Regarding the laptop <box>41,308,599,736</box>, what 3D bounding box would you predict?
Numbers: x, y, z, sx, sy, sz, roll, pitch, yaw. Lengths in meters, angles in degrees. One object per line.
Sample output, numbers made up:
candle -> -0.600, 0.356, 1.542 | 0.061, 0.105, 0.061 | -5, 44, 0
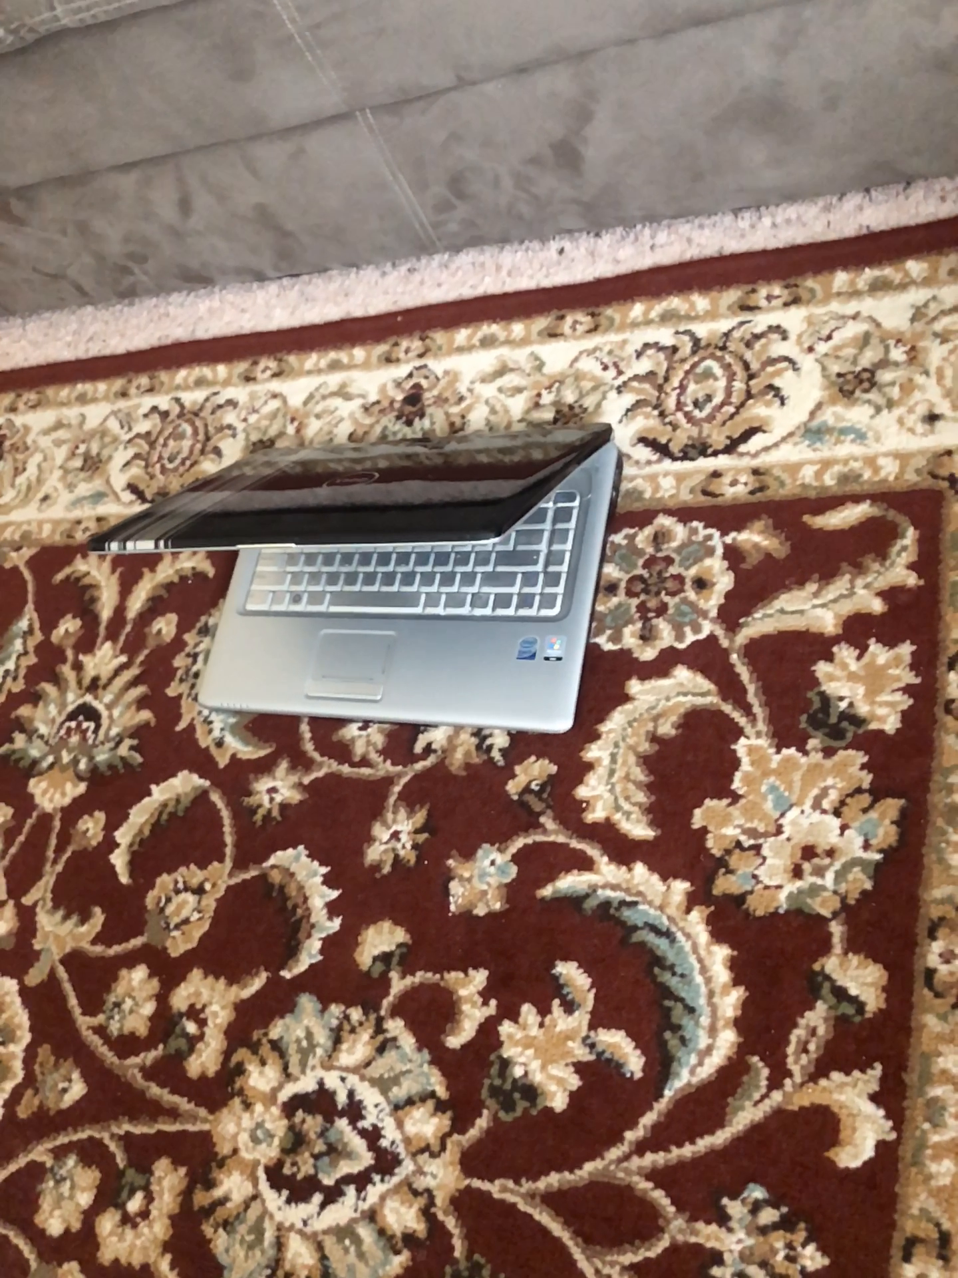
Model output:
laptop -> -0.113, -0.078, 0.810 | 0.342, 0.164, 0.244 | 1, 67, 26
